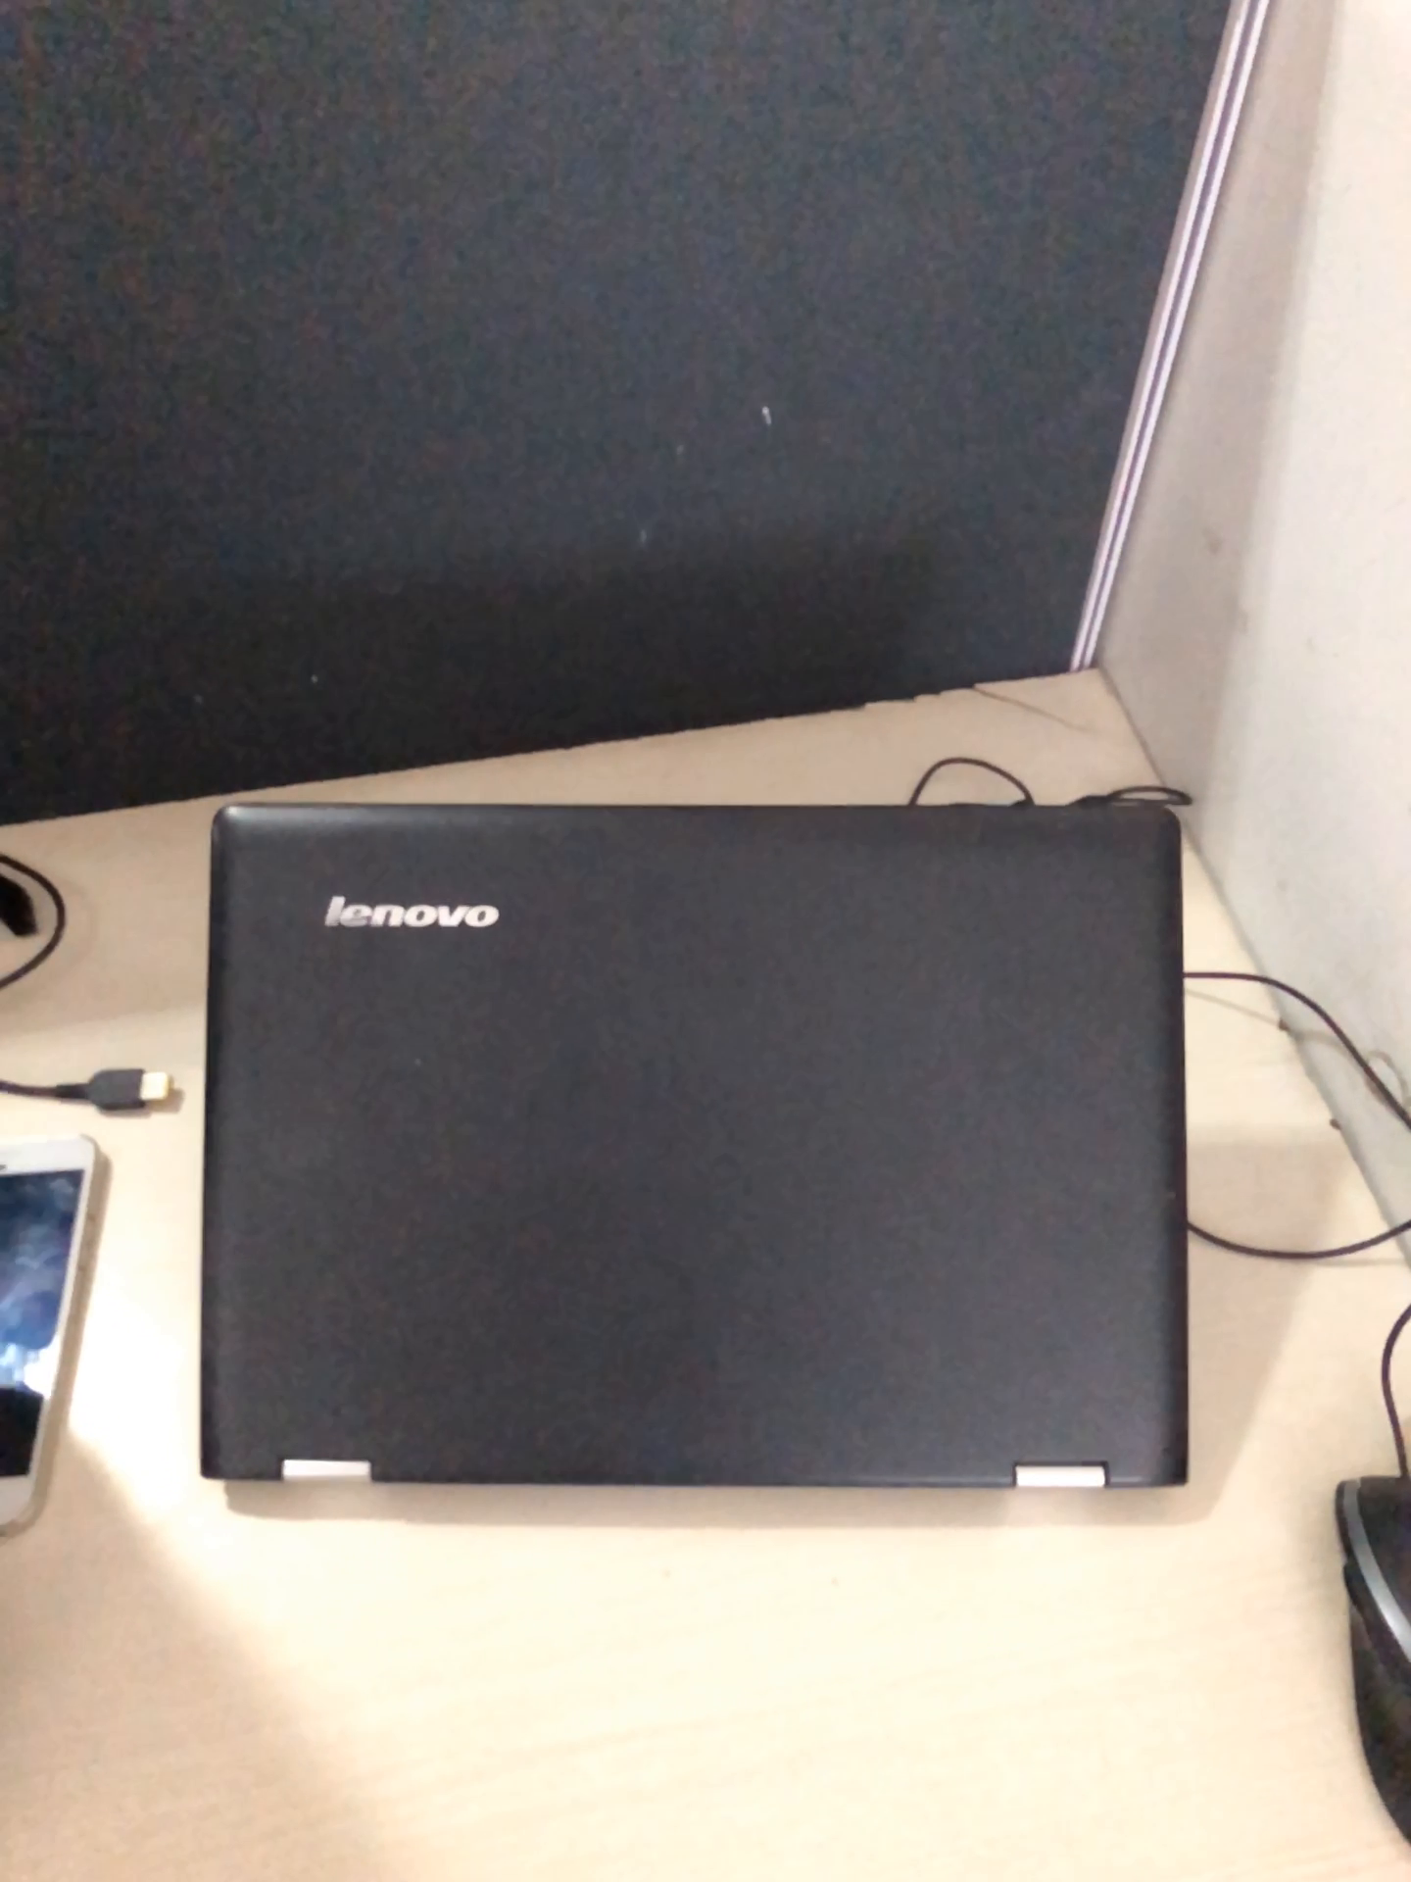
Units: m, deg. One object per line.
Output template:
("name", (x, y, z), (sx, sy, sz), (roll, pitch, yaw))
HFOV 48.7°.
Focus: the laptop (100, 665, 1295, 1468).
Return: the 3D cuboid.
("laptop", (-0.003, 0.044, 0.527), (0.323, 0.142, 0.205), (0, 58, 0))
